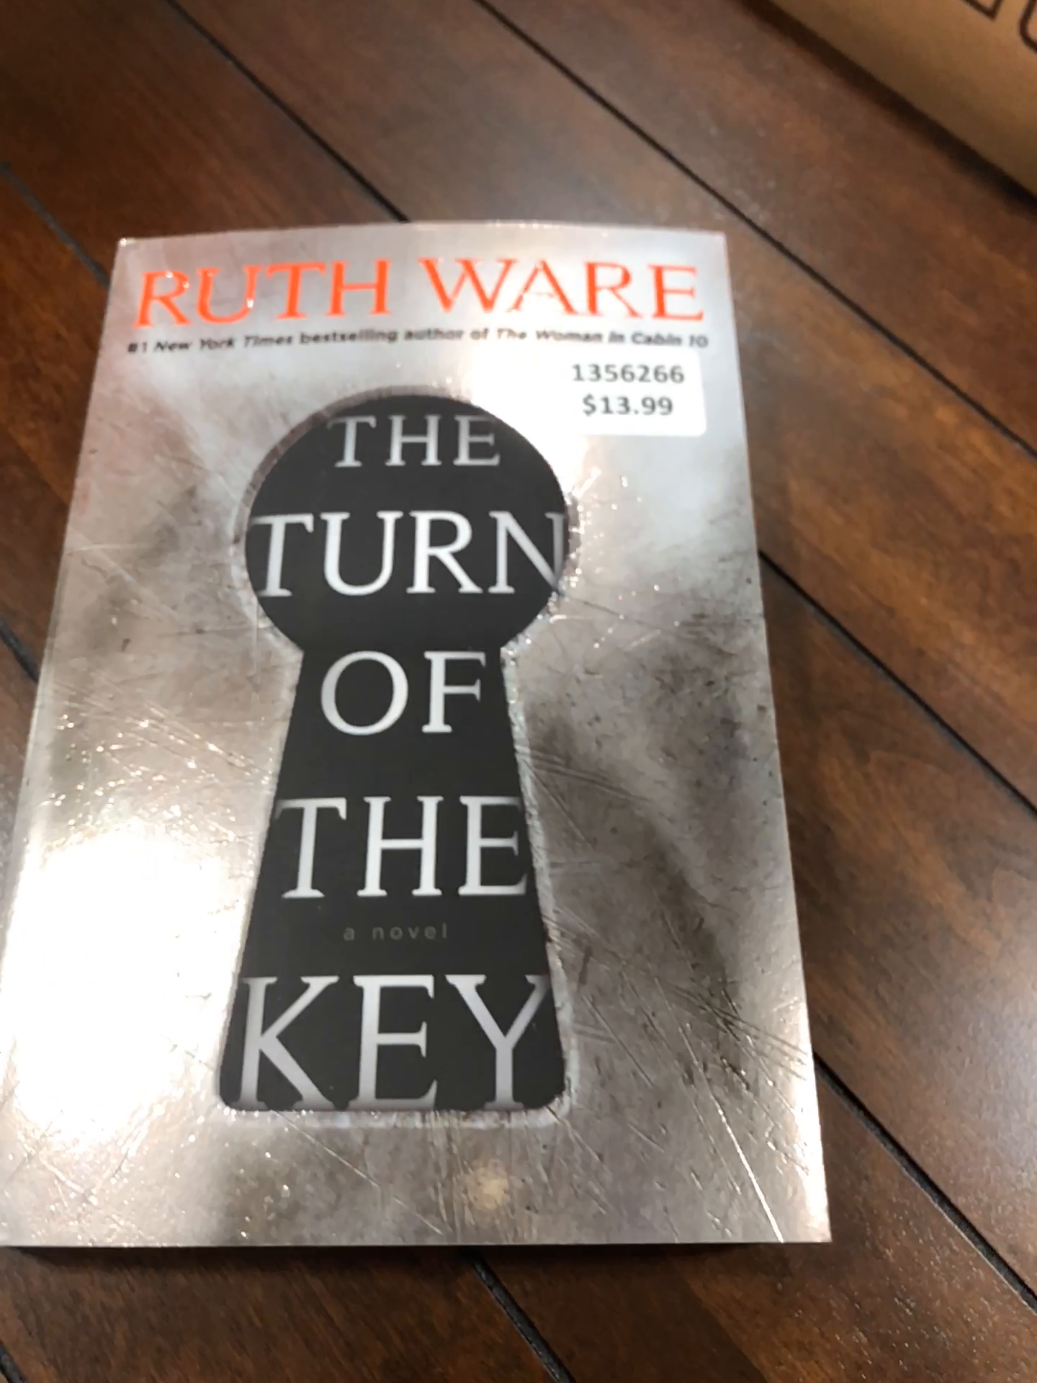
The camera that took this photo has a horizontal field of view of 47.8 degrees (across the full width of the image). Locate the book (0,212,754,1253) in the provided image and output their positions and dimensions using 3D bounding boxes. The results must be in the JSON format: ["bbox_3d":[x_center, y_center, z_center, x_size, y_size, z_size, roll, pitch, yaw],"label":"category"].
[{"bbox_3d":[-0.040,-0.006,0.257,0.158,0.028,0.233,0,66,-1],"label":"book"}]
